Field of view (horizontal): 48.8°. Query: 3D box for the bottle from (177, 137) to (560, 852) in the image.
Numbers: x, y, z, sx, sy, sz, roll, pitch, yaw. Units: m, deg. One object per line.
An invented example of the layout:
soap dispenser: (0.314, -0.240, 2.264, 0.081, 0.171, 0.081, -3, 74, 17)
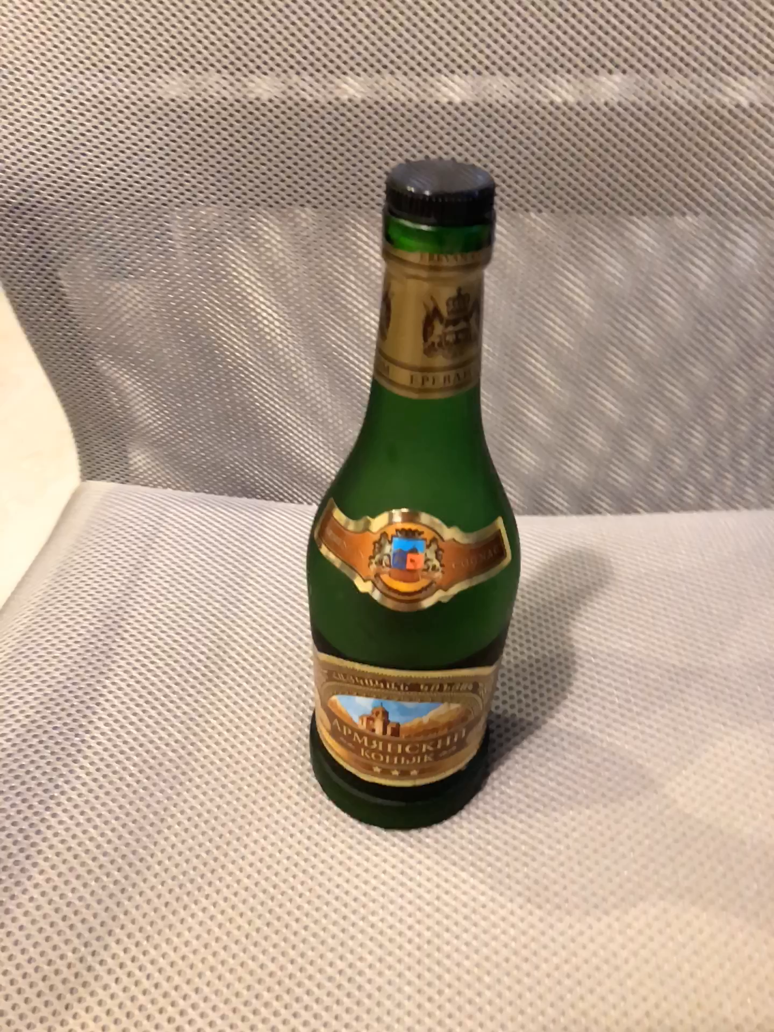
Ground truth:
bottle: (0.004, 0.014, 0.279, 0.077, 0.238, 0.075, -1, 43, 1)
